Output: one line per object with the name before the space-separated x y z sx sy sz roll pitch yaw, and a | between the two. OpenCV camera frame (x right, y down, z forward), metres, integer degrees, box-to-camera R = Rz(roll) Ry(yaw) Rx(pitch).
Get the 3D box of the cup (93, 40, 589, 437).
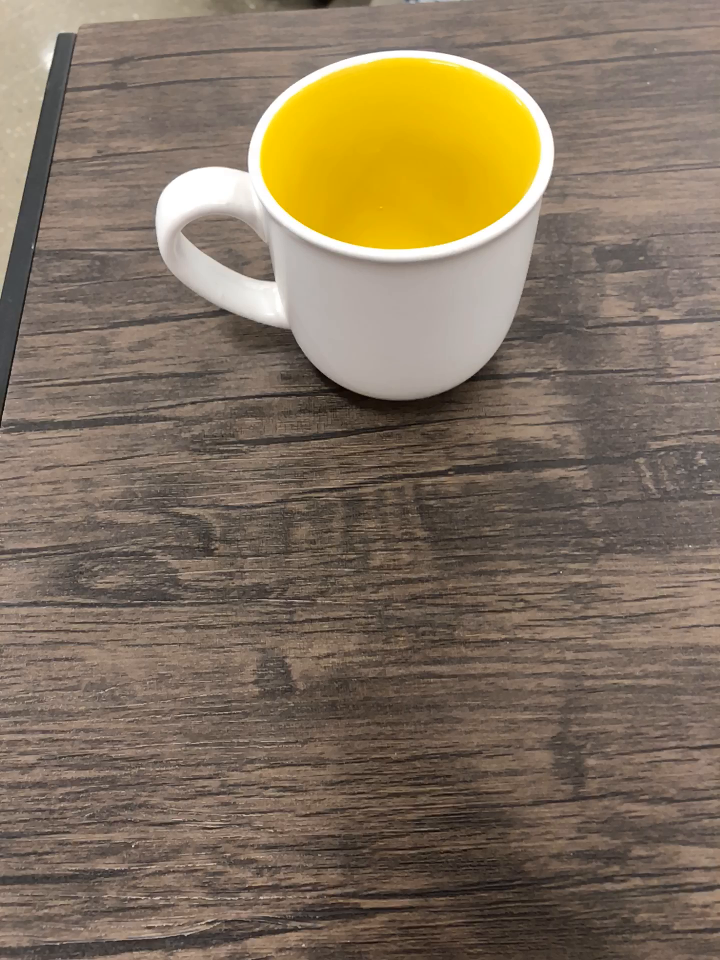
cup | -0.004 -0.076 0.274 0.130 0.100 0.080 0 61 2
